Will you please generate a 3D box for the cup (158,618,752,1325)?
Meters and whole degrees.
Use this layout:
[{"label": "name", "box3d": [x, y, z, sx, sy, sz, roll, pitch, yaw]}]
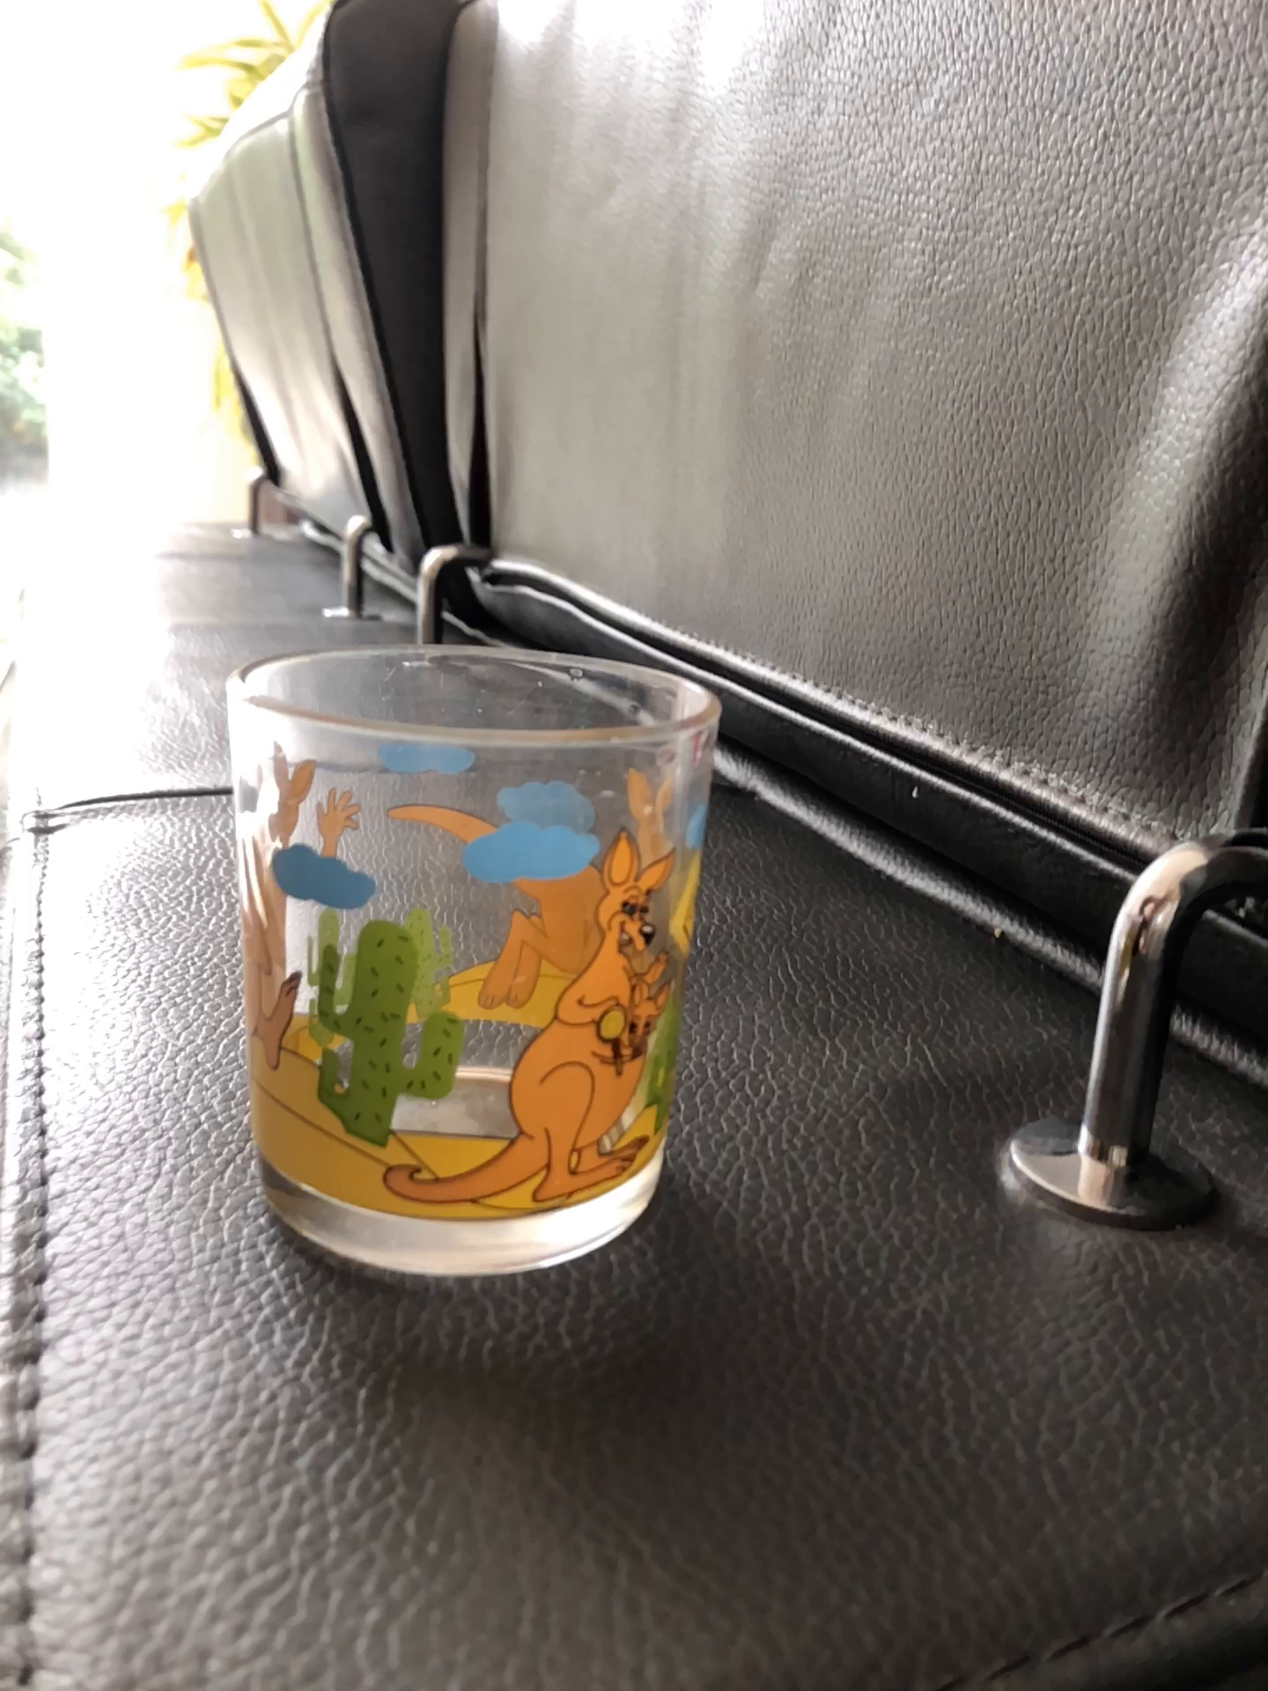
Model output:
[{"label": "cup", "box3d": [-0.024, 0.013, 0.215, 0.070, 0.080, 0.080, 3, 16, -1]}]
